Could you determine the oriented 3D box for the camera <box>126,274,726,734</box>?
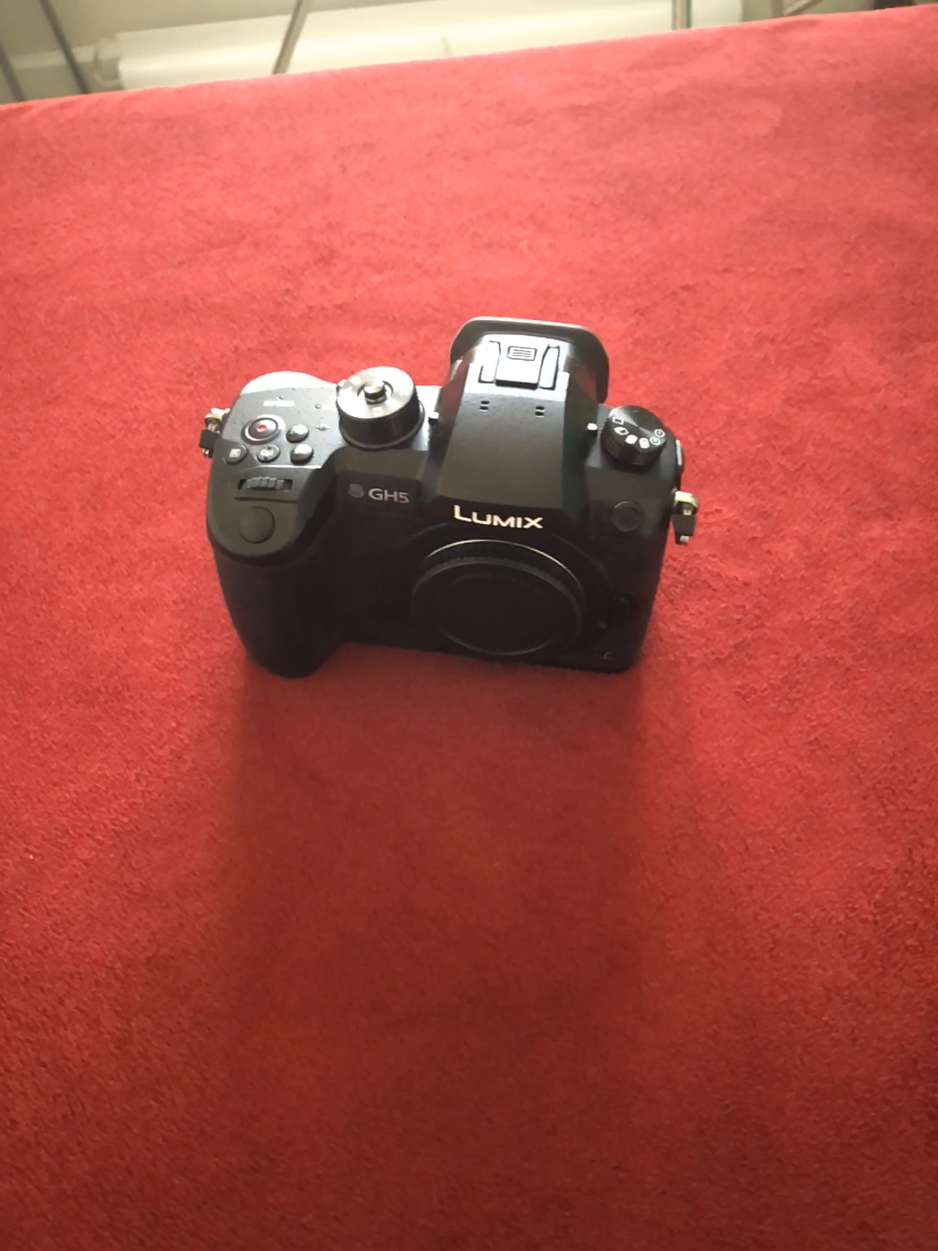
[{"bbox_3d":[-0.006,-0.036,0.316,0.148,0.087,0.086,7,54,6],"label":"camera"}]
